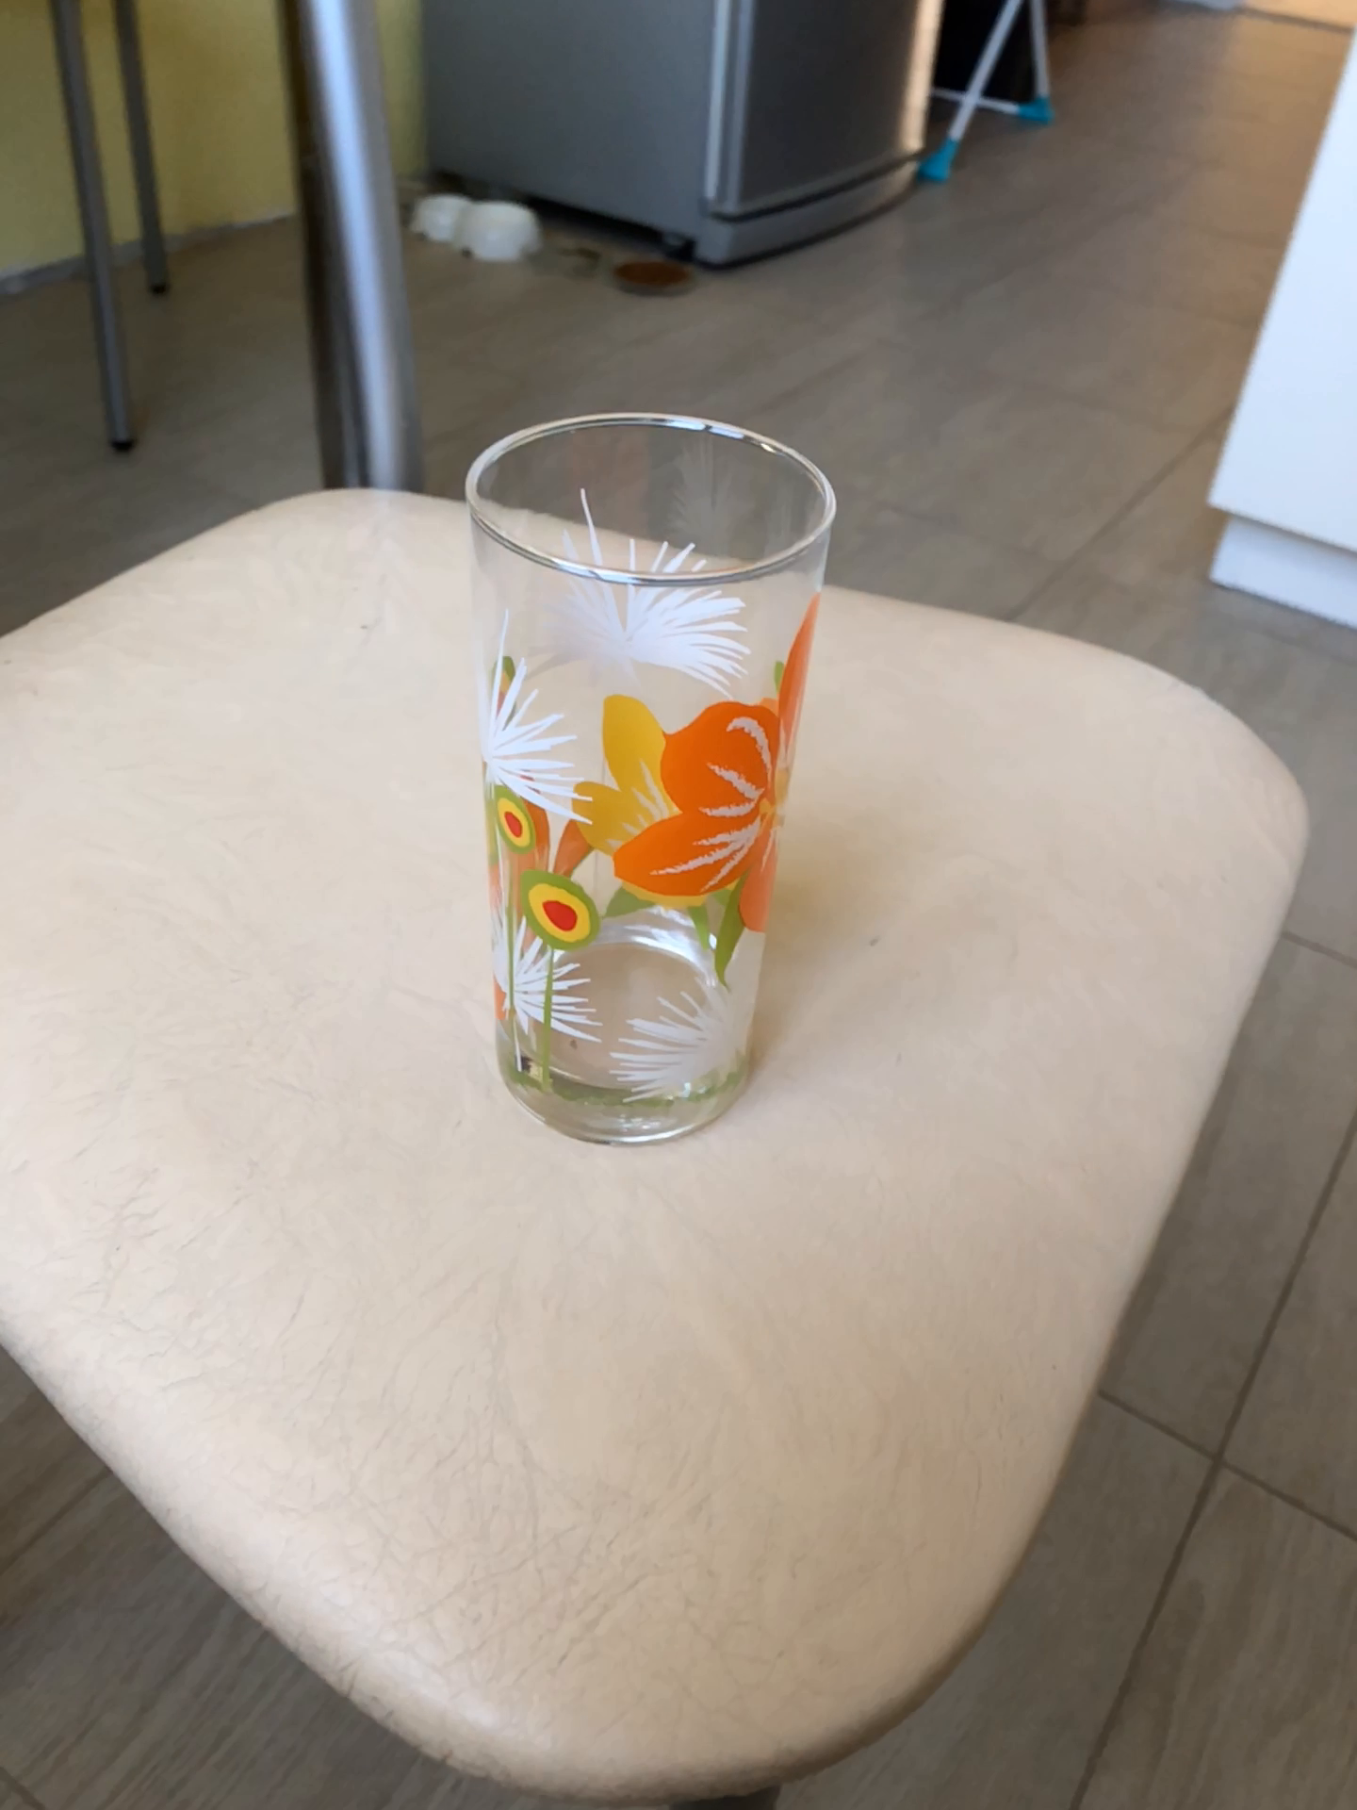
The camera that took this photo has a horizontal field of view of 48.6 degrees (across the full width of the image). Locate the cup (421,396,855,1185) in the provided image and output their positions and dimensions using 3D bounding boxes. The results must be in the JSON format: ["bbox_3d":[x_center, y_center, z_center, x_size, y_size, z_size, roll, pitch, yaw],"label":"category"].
[{"bbox_3d":[-0.008,-0.018,0.289,0.063,0.133,0.061,3,39,-3],"label":"cup"}]
